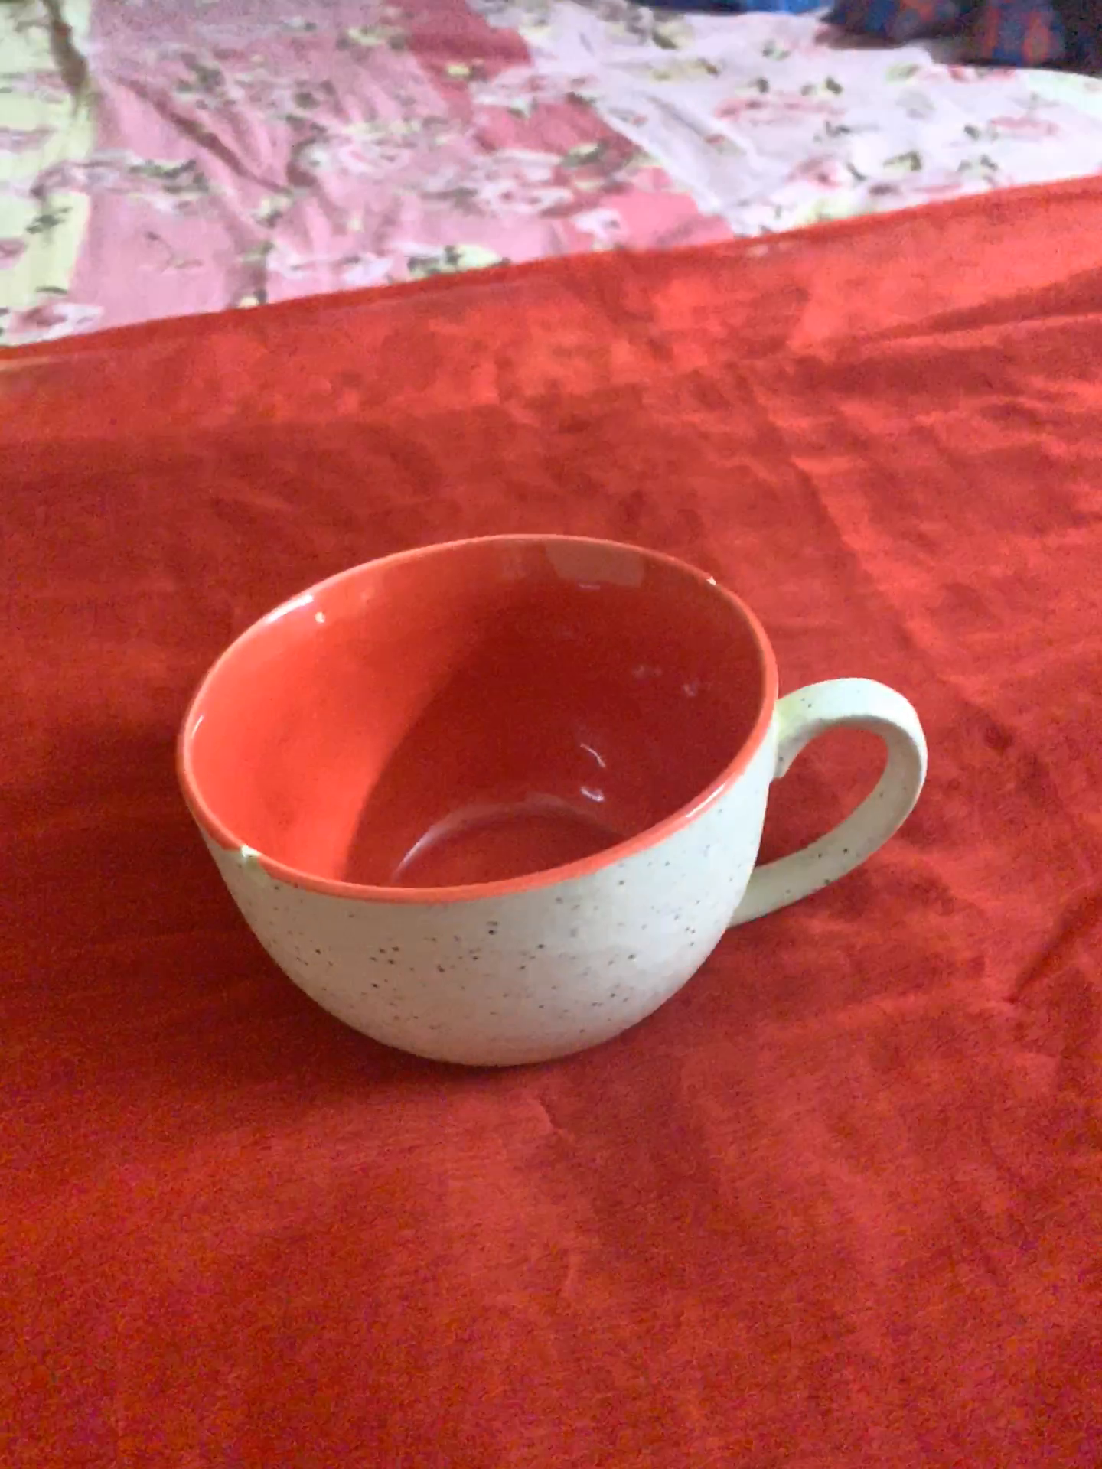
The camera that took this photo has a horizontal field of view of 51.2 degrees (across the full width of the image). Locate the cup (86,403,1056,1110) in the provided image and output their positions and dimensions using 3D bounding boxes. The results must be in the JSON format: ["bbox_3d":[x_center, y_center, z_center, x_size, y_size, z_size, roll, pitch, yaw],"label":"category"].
[{"bbox_3d":[0.003,-0.003,0.238,0.140,0.069,0.131,-3,41,2],"label":"cup"}]
